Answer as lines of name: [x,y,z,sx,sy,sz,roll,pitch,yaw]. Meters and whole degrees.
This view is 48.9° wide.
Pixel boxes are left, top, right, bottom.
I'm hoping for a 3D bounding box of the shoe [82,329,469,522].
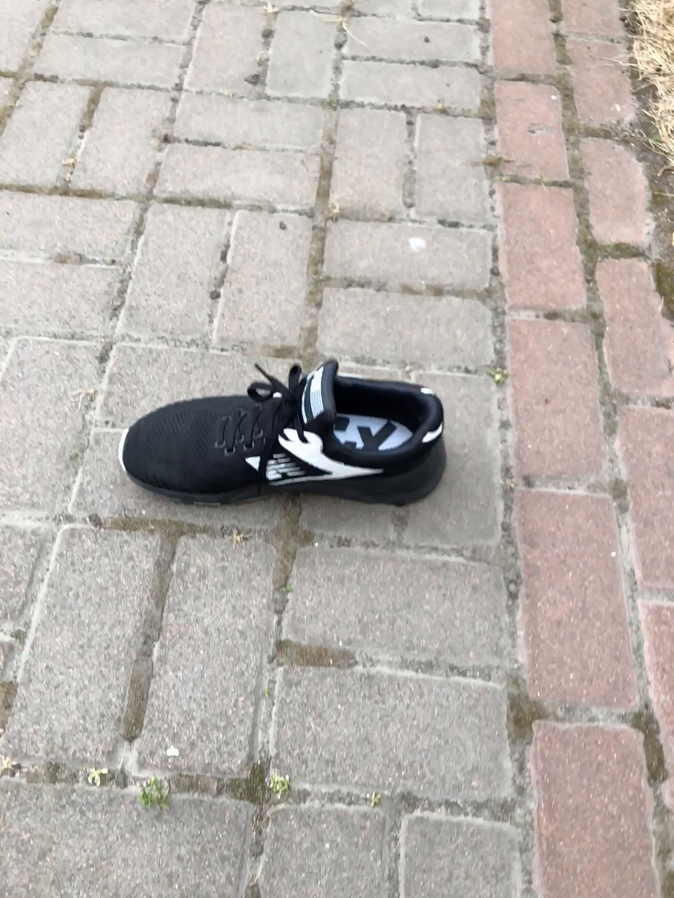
shoe: [-0.045,-0.015,0.617,0.280,0.129,0.101,2,60,-1]
